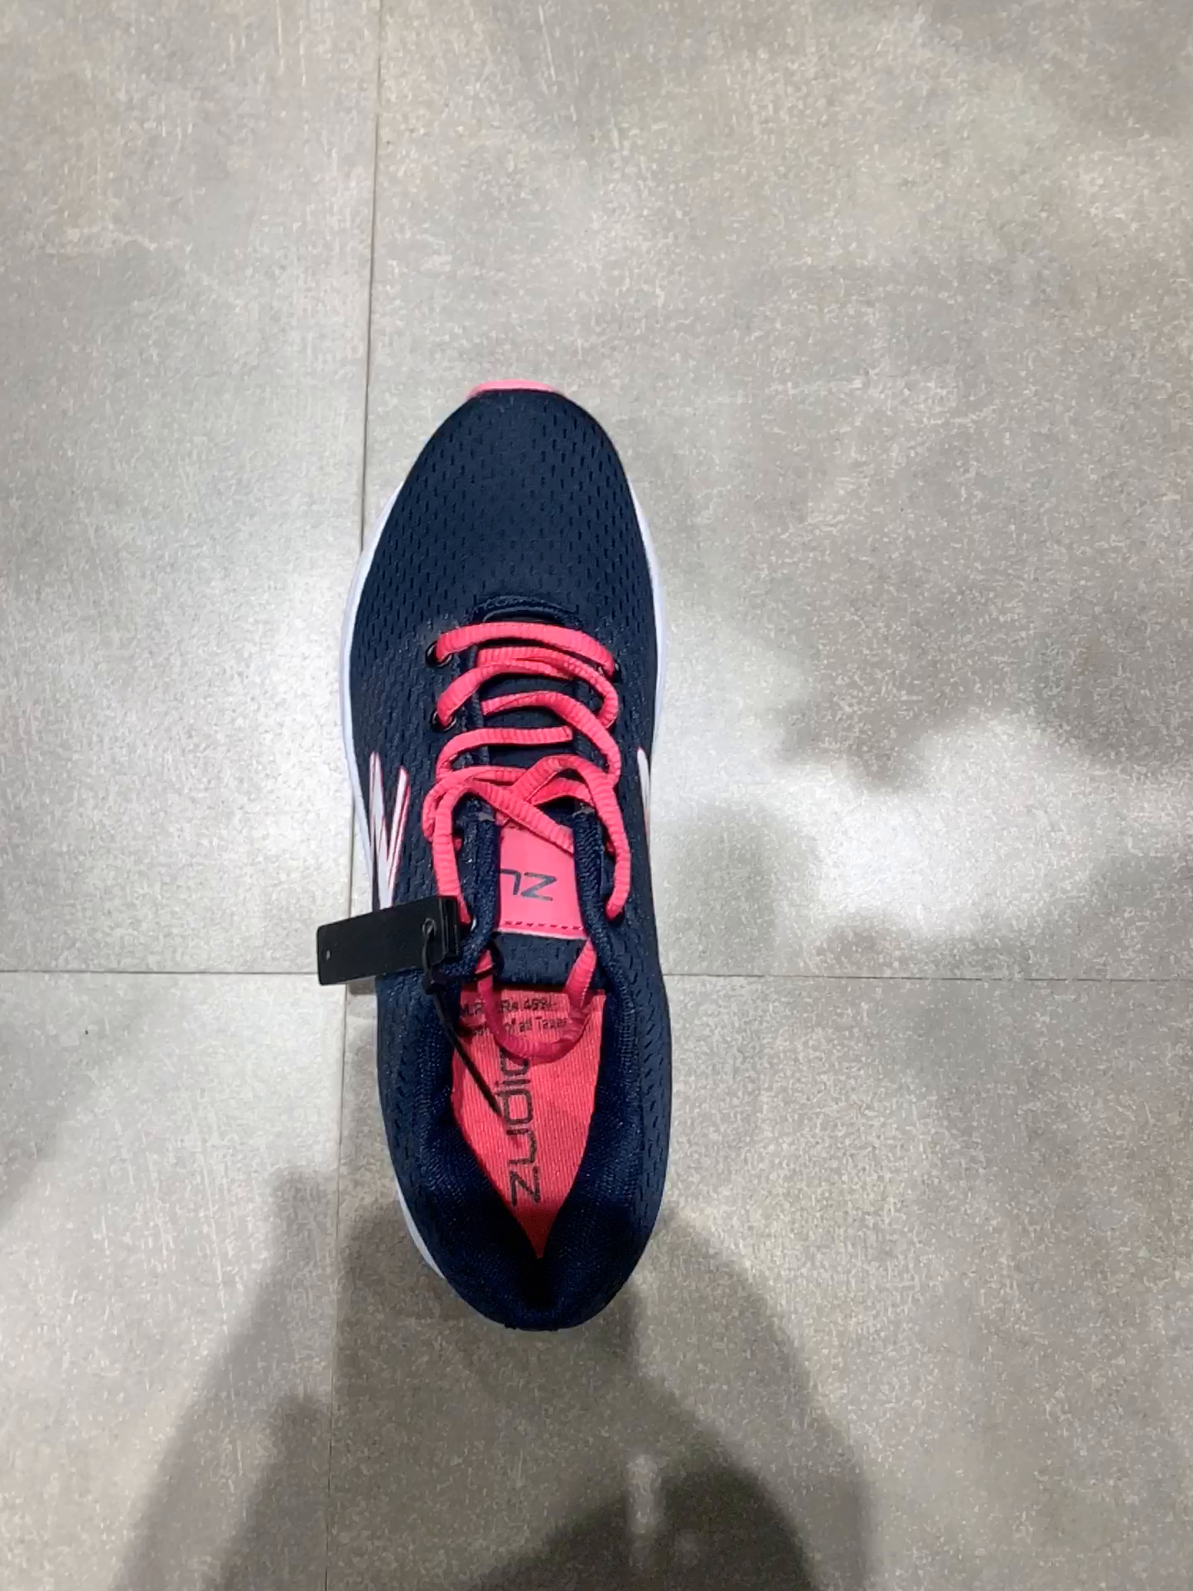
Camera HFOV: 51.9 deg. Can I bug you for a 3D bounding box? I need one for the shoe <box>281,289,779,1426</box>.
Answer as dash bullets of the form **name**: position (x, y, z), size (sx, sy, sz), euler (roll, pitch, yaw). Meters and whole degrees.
- **shoe**: position (-0.021, 0.010, 0.318), size (0.094, 0.090, 0.248), euler (-4, 84, -7)
